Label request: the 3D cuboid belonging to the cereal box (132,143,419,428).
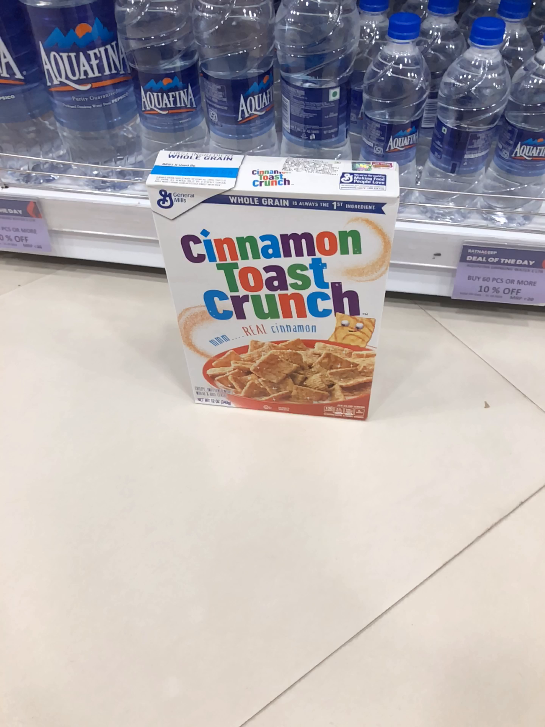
[{"bbox_3d":[0.009,-0.051,0.542,0.200,0.278,0.060,5,52,6],"label":"cereal box"}]
